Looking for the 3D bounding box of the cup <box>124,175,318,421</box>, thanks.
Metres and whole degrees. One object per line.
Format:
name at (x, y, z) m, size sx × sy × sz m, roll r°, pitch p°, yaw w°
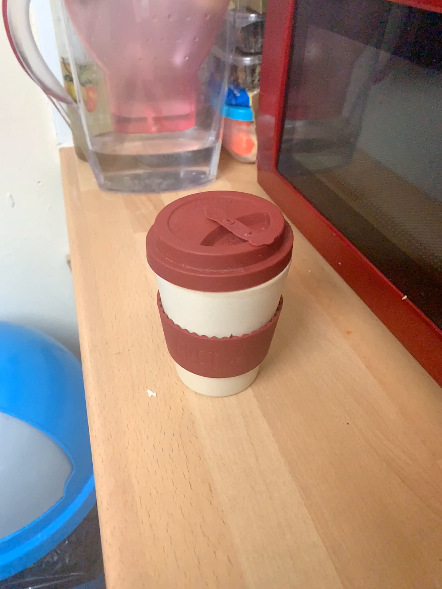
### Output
cup at (-0.005, 0.000, 0.298) m, size 0.086 × 0.115 × 0.088 m, roll 1°, pitch 39°, yaw -1°
